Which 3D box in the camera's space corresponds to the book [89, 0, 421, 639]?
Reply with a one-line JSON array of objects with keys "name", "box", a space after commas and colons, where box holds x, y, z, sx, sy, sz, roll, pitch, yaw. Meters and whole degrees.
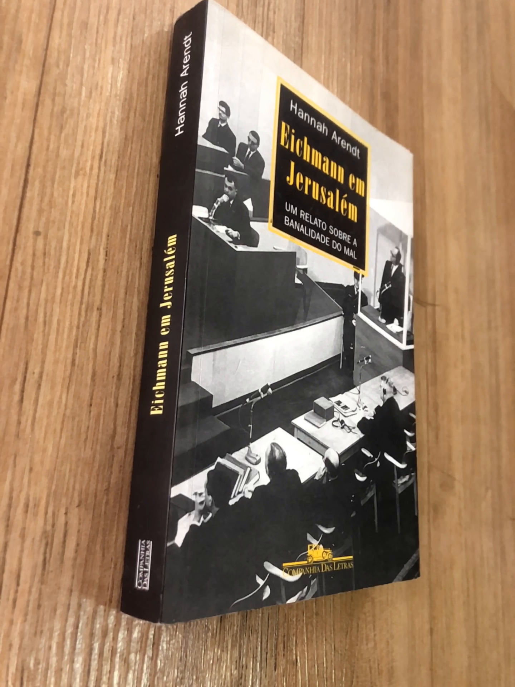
[{"name": "book", "box": [0.016, -0.008, 0.226, 0.141, 0.030, 0.200, 16, 72, -45]}]
